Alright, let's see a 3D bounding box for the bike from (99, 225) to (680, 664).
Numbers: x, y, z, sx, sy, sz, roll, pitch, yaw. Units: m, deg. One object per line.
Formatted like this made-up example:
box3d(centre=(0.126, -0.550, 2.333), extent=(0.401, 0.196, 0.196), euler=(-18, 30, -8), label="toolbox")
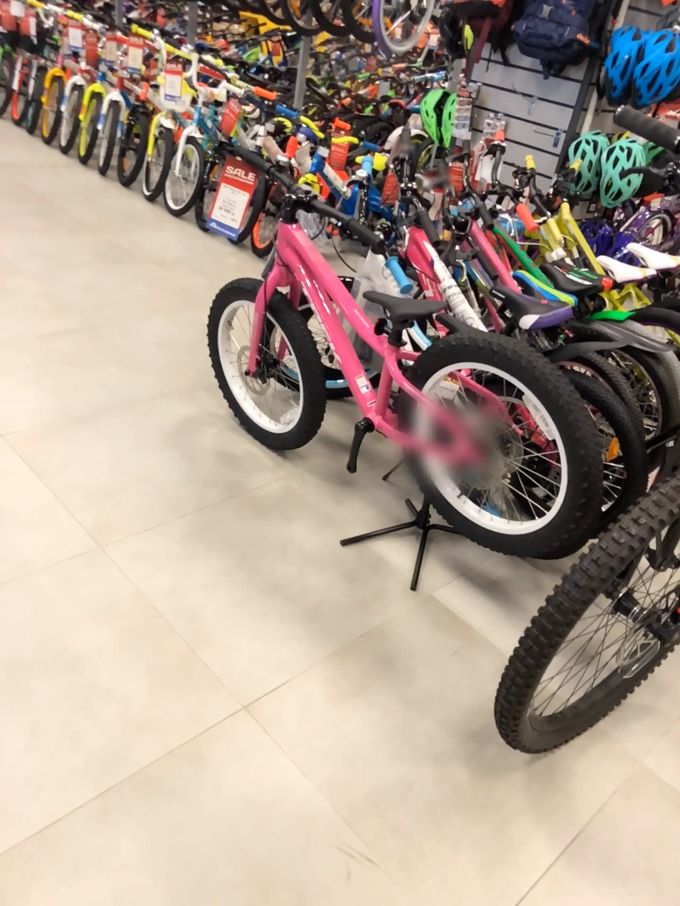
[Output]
box3d(centre=(-0.021, -0.151, 1.887), extent=(0.572, 0.668, 1.336), euler=(-17, 33, -39), label="bike")
